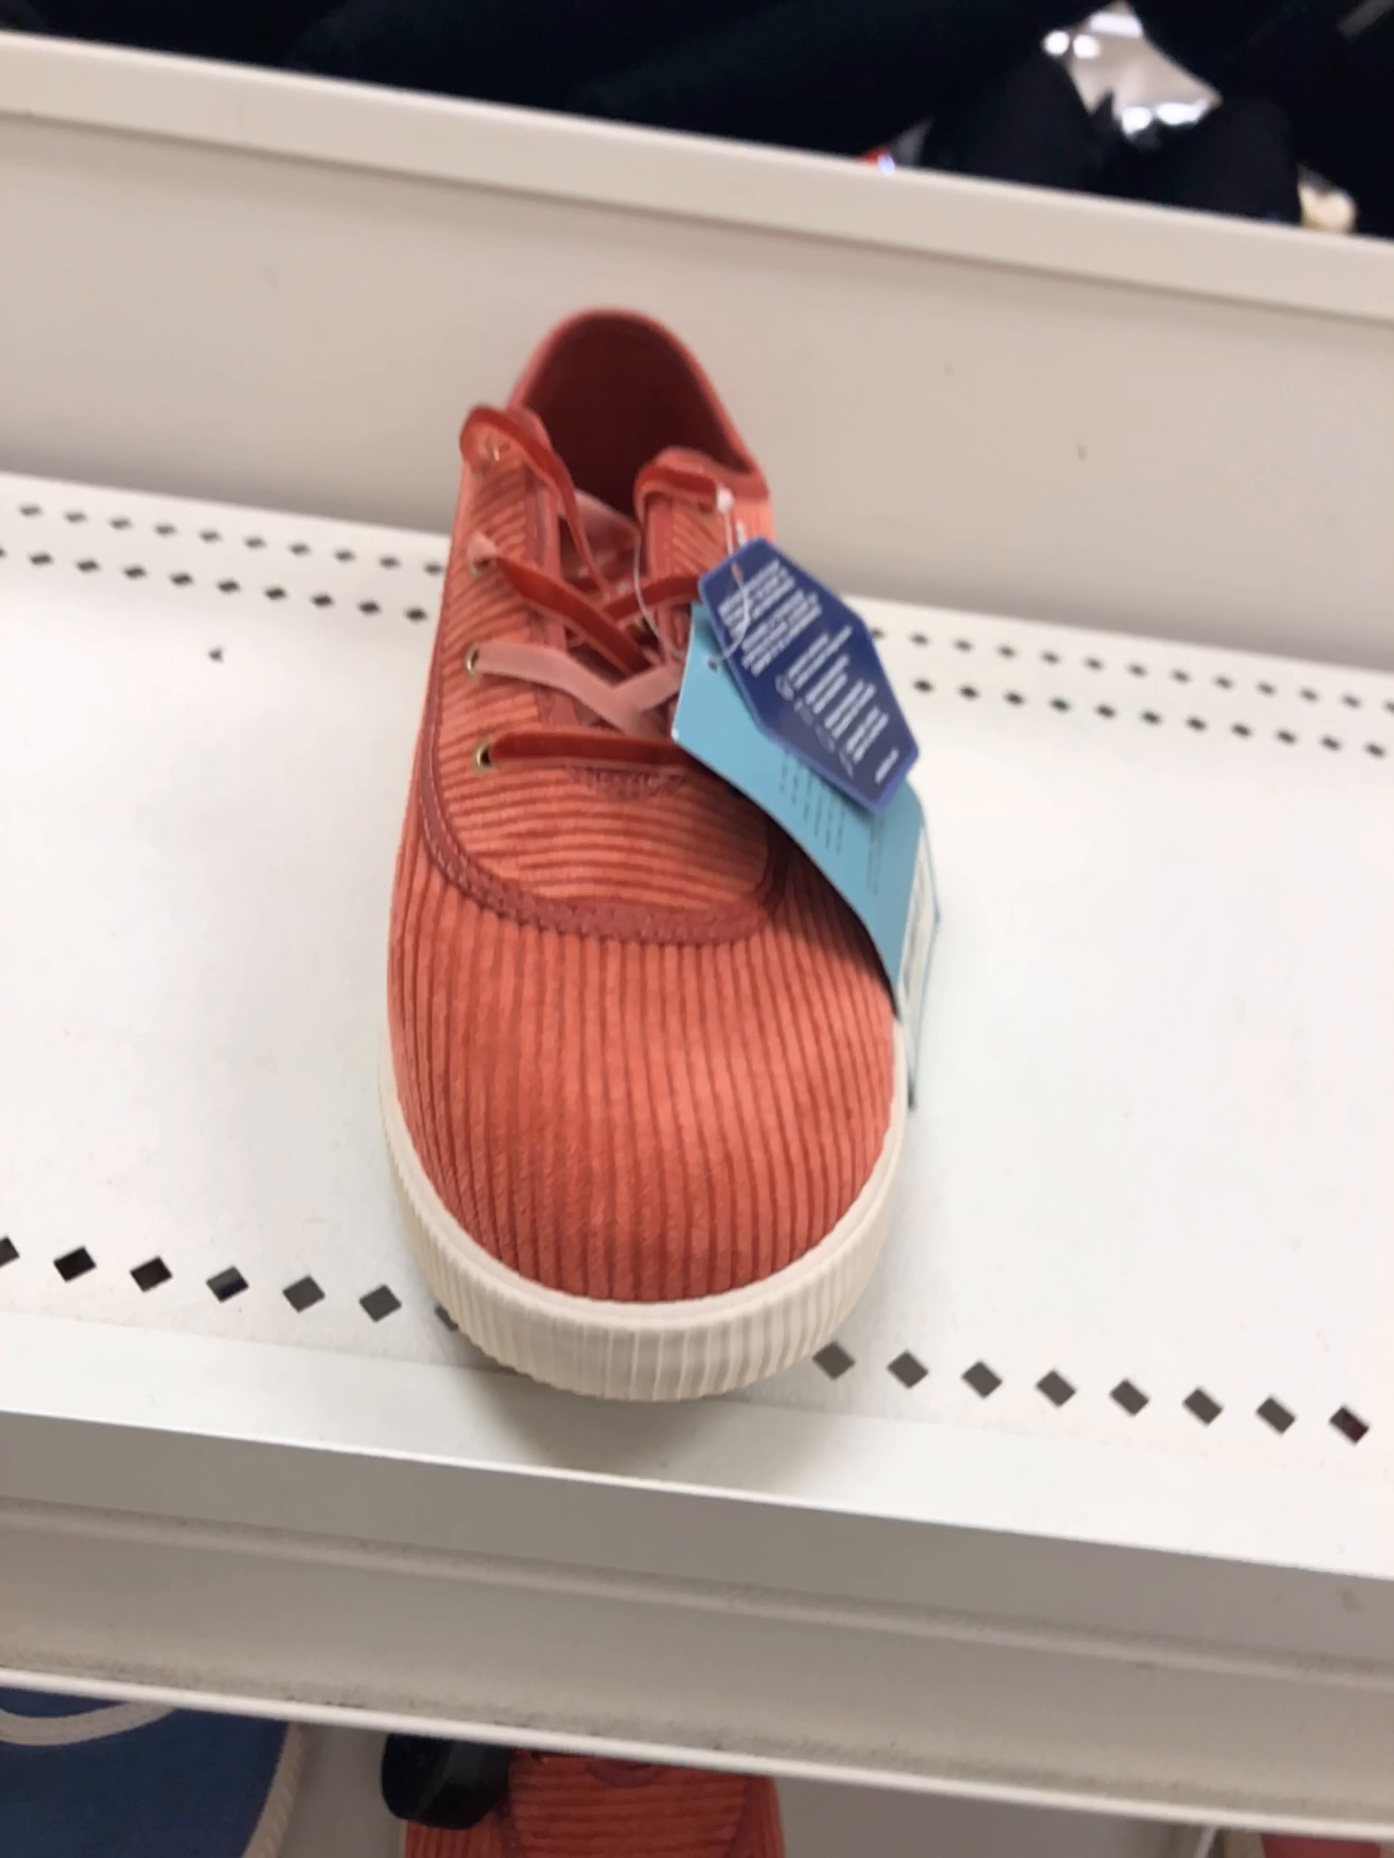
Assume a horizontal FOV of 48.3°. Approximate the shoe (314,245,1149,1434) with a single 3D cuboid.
[{"bbox_3d":[-0.008,-0.057,0.339,0.100,0.089,0.323,5,36,-7],"label":"shoe"}]
